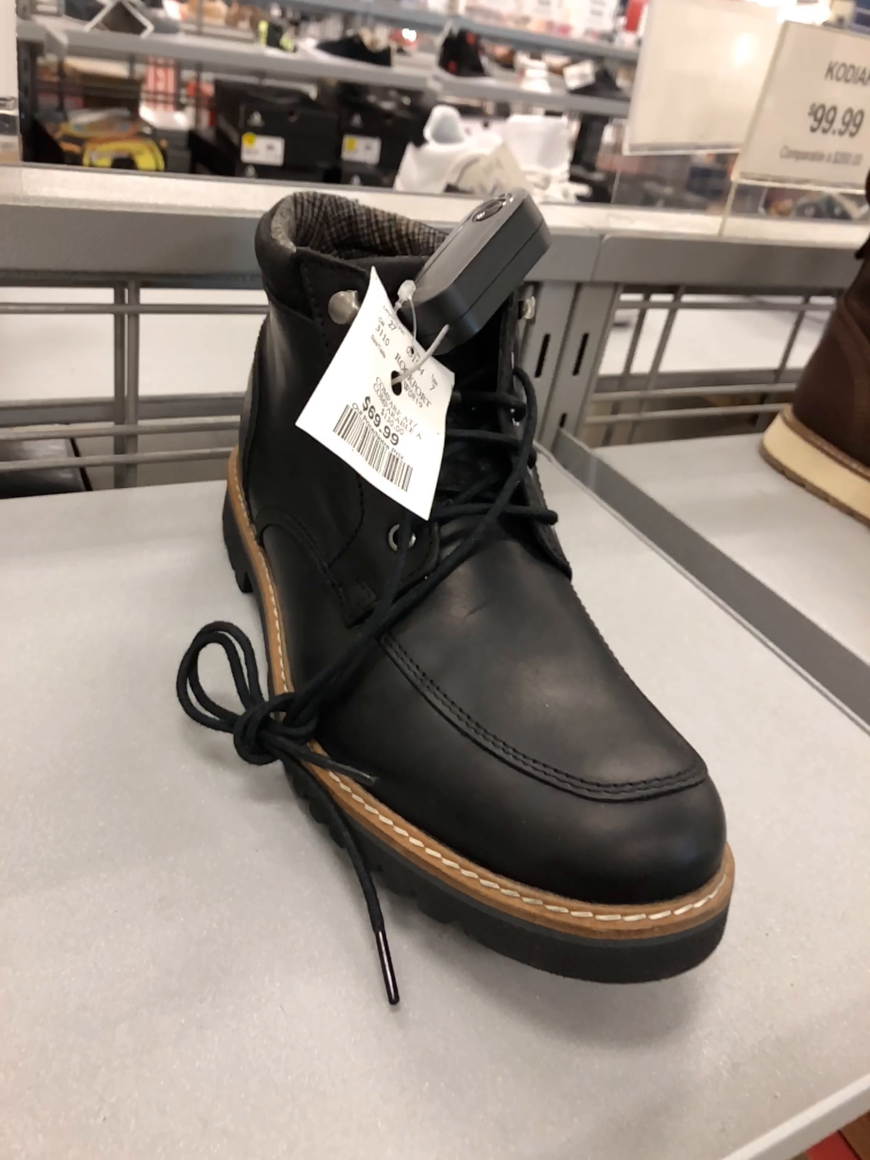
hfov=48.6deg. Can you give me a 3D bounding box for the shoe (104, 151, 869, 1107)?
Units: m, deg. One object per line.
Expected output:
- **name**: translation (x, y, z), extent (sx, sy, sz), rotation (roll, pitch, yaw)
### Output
- **shoe**: translation (-0.009, -0.020, 0.315), extent (0.120, 0.139, 0.282), rotation (-9, 41, -31)
